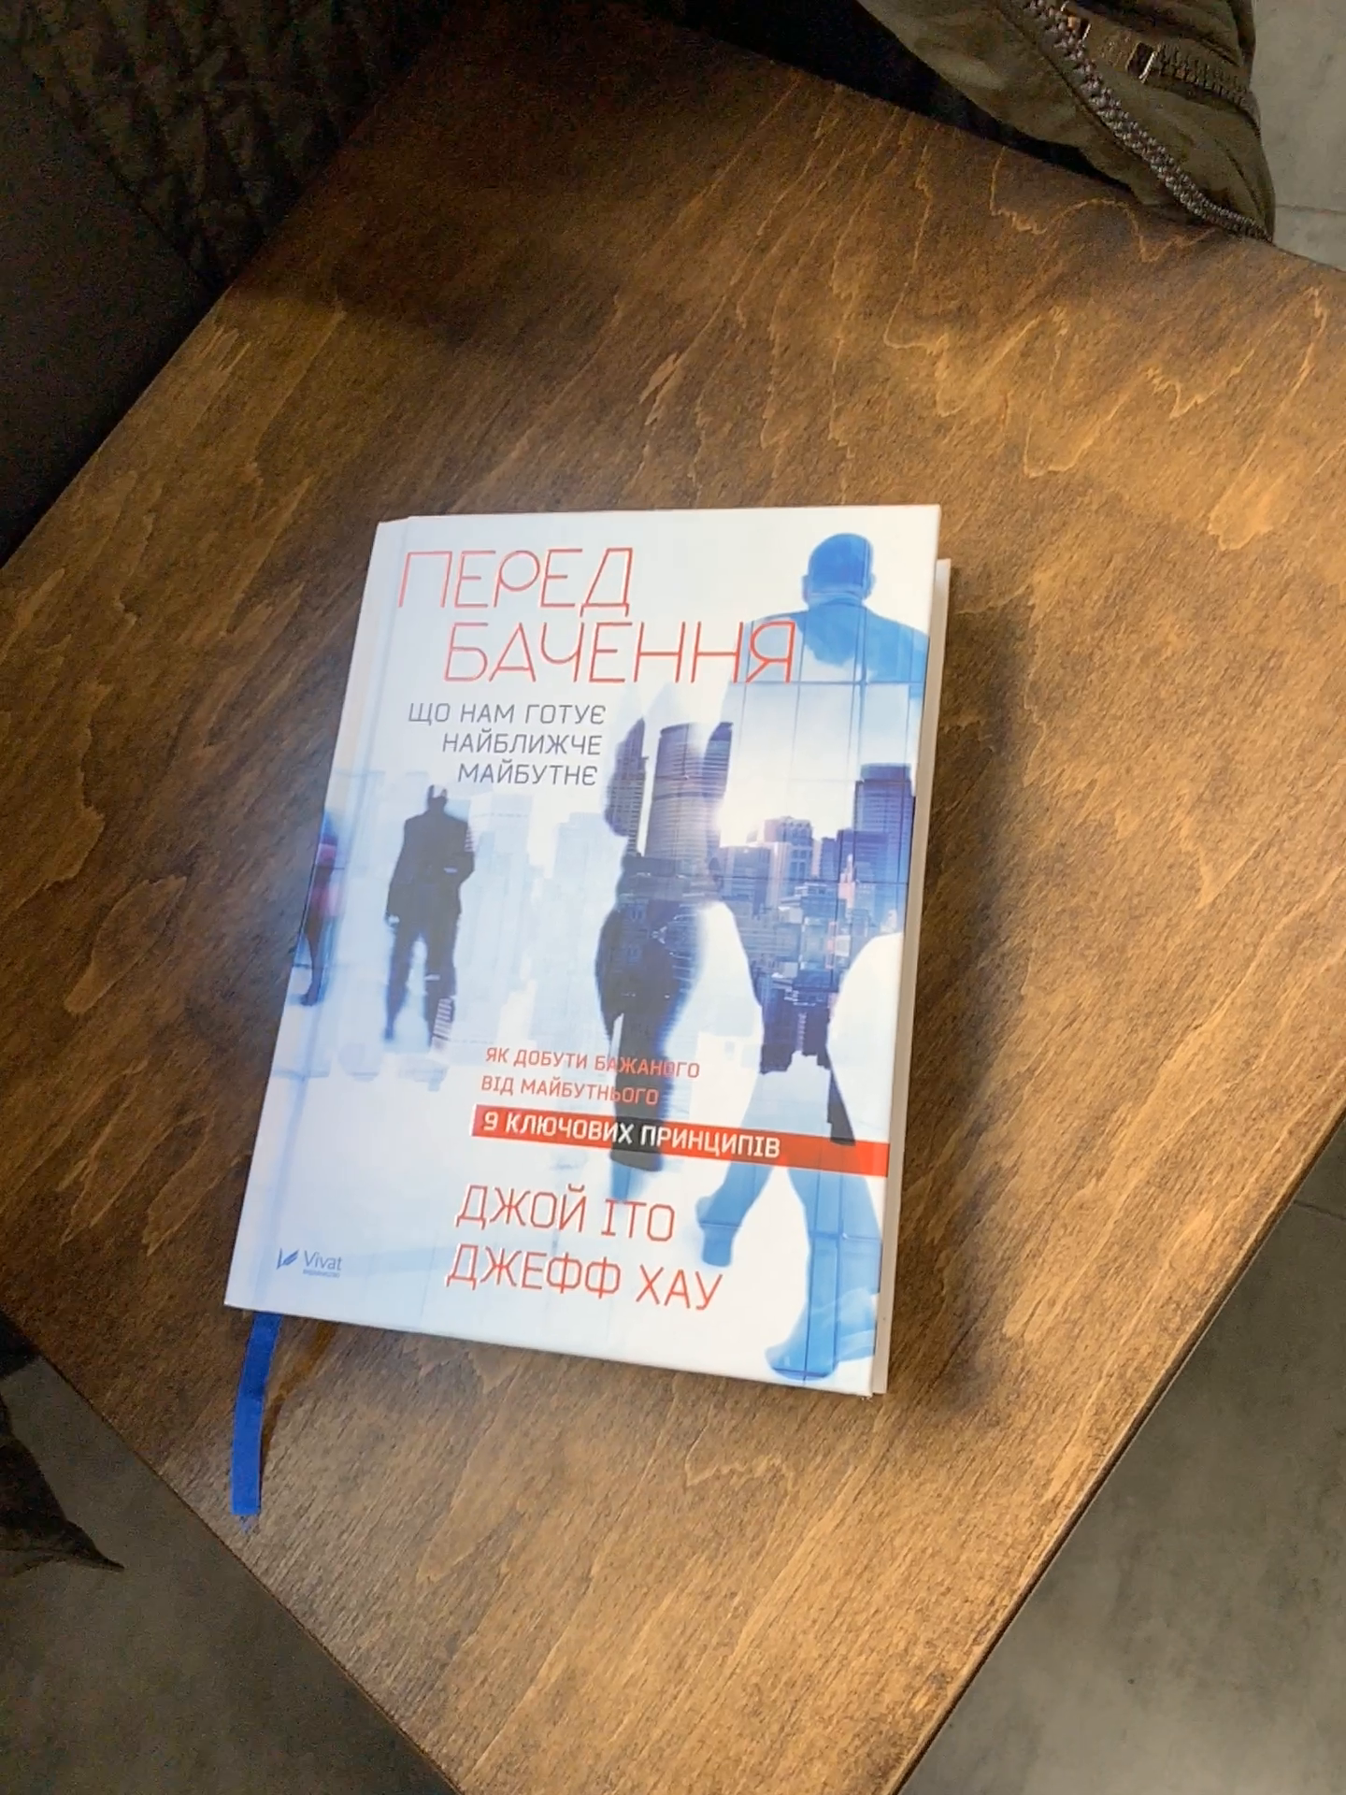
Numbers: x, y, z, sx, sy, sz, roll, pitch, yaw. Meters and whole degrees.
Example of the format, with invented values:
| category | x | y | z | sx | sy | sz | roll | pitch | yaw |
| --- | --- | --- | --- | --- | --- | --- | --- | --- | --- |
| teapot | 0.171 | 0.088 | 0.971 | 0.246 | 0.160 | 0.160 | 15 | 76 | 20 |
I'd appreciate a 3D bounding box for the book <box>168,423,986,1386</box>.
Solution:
| category | x | y | z | sx | sy | sz | roll | pitch | yaw |
| --- | --- | --- | --- | --- | --- | --- | --- | --- | --- |
| book | -0.014 | -0.006 | 0.308 | 0.149 | 0.040 | 0.196 | 3 | 74 | 15 |
